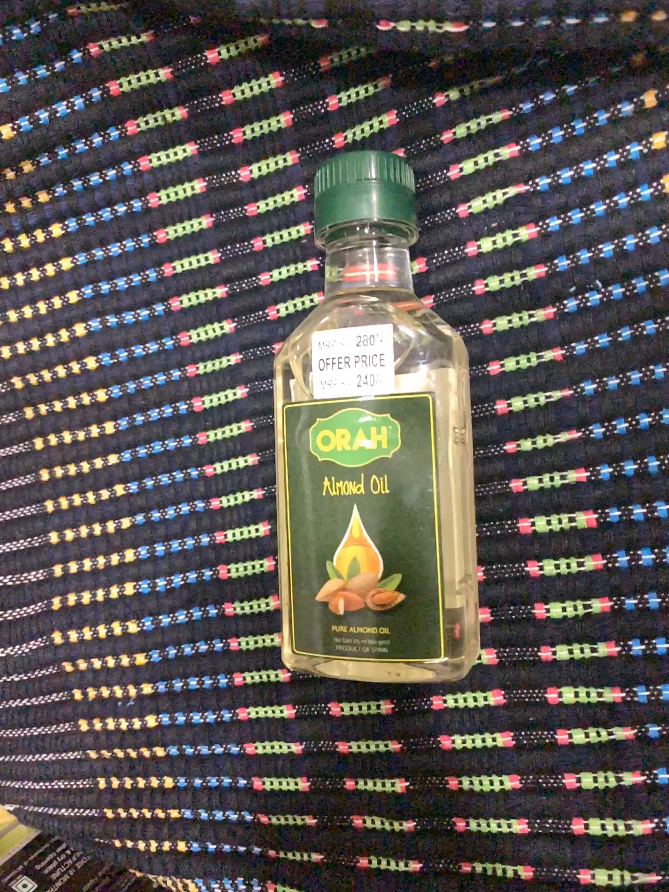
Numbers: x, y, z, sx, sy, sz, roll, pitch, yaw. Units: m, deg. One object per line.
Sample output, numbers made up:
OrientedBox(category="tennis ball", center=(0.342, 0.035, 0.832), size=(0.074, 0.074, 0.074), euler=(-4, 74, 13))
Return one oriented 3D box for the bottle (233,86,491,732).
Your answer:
OrientedBox(category="bottle", center=(0.007, -0.009, 0.185), size=(0.060, 0.030, 0.150), euler=(-2, 85, 22))
